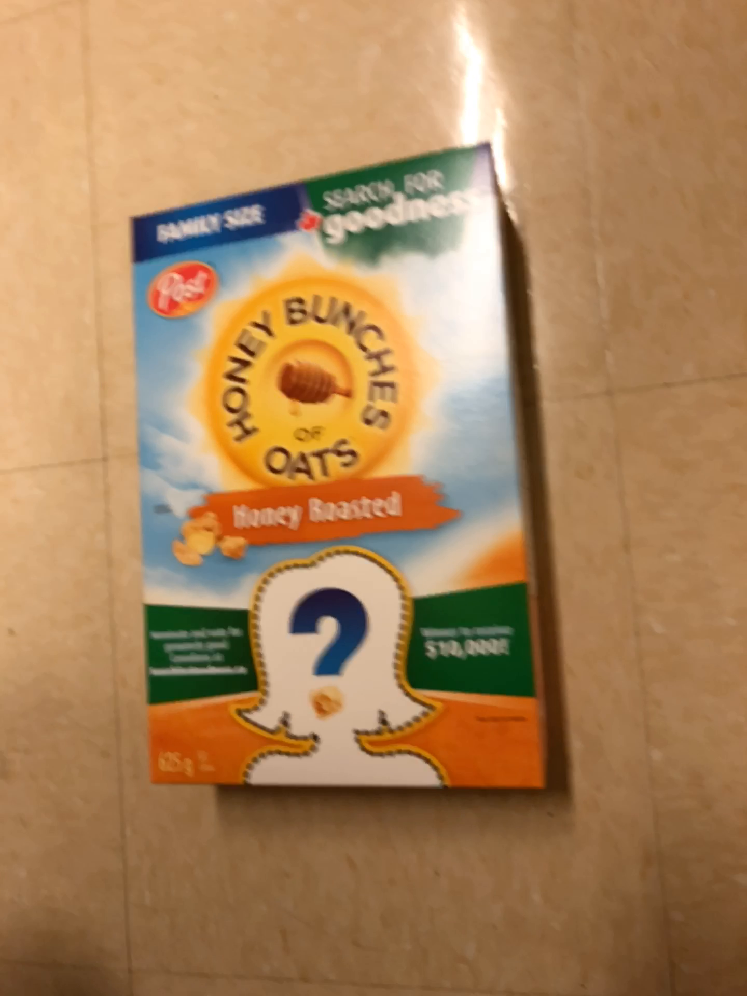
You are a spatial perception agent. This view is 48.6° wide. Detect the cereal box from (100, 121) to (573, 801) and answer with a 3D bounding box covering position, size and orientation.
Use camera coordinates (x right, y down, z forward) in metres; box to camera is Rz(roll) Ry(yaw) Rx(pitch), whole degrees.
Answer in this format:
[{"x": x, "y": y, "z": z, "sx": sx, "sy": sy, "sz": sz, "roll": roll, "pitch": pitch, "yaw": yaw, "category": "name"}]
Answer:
[{"x": -0.022, "y": -0.011, "z": 0.409, "sx": 0.211, "sy": 0.070, "sz": 0.290, "roll": -5, "pitch": 81, "yaw": 16, "category": "cereal box"}]
